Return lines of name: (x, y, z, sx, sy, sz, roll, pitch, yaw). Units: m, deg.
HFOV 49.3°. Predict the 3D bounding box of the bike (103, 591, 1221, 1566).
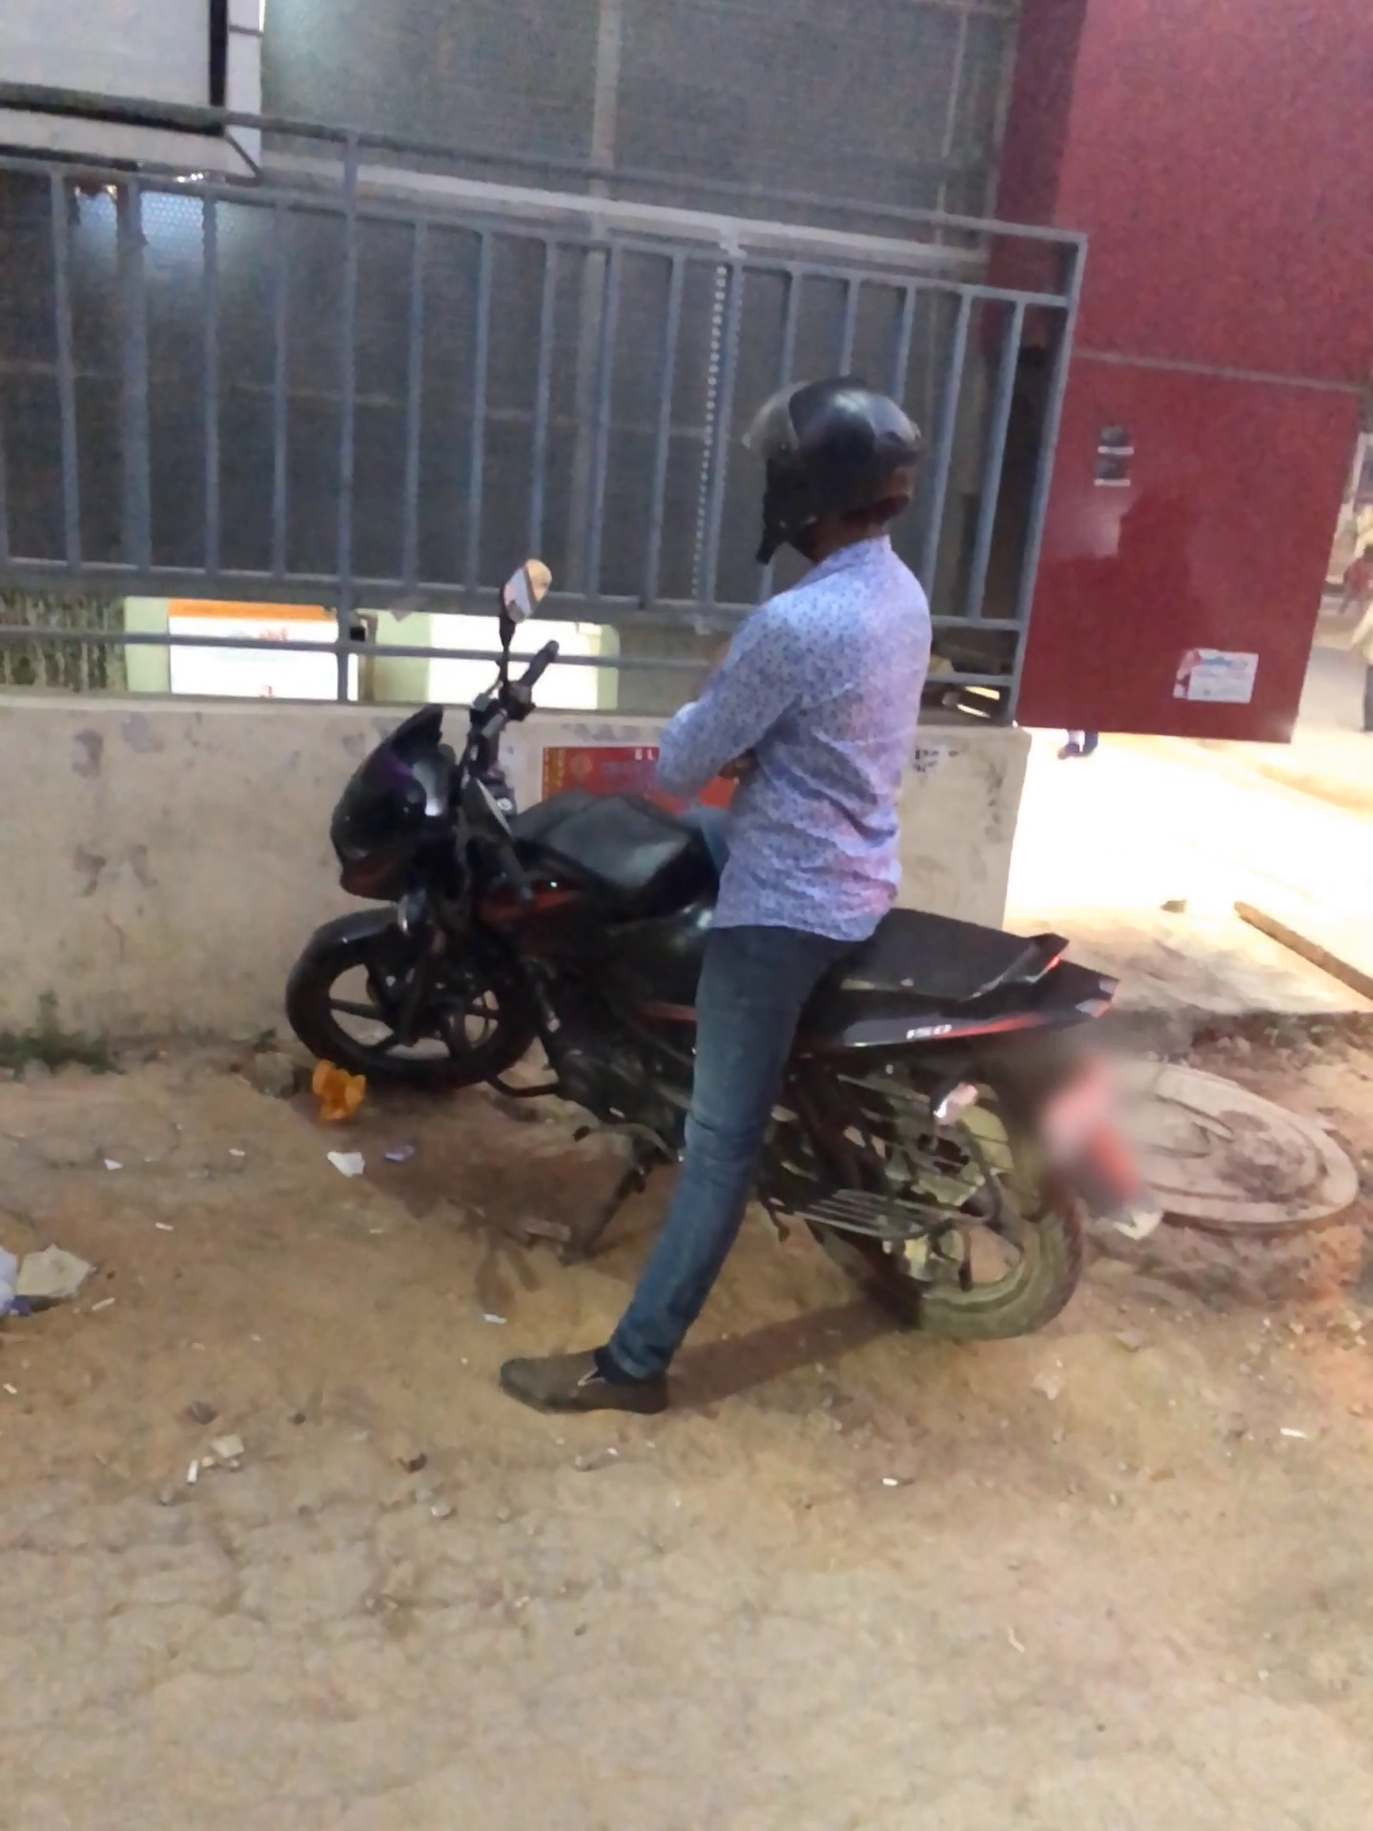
bike: (-0.131, 0.122, 2.776, 1.802, 1.146, 0.748, 15, 19, 27)
